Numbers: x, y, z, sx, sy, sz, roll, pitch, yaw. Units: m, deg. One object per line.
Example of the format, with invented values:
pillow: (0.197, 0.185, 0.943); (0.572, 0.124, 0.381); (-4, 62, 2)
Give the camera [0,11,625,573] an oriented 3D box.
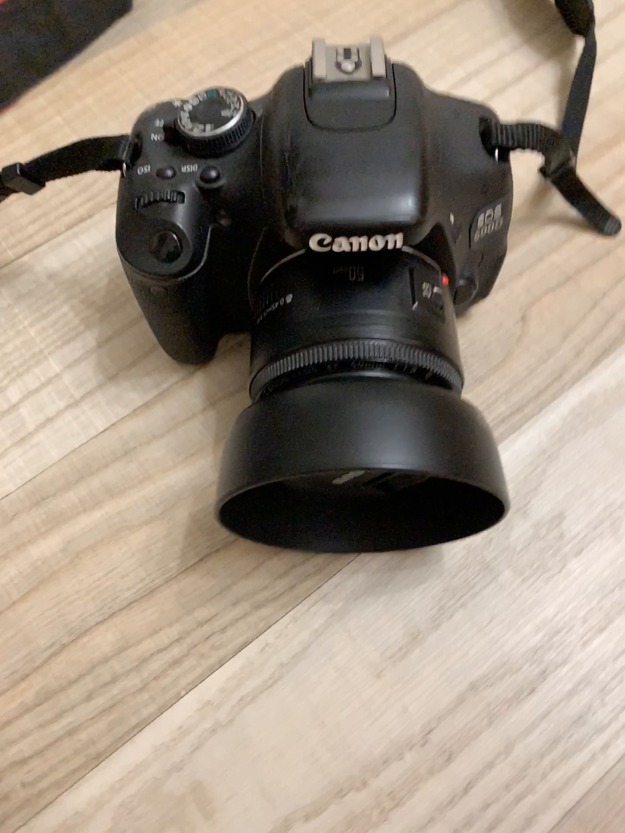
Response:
camera: (0.000, -0.035, 0.209); (0.139, 0.090, 0.151); (-1, 65, 2)
